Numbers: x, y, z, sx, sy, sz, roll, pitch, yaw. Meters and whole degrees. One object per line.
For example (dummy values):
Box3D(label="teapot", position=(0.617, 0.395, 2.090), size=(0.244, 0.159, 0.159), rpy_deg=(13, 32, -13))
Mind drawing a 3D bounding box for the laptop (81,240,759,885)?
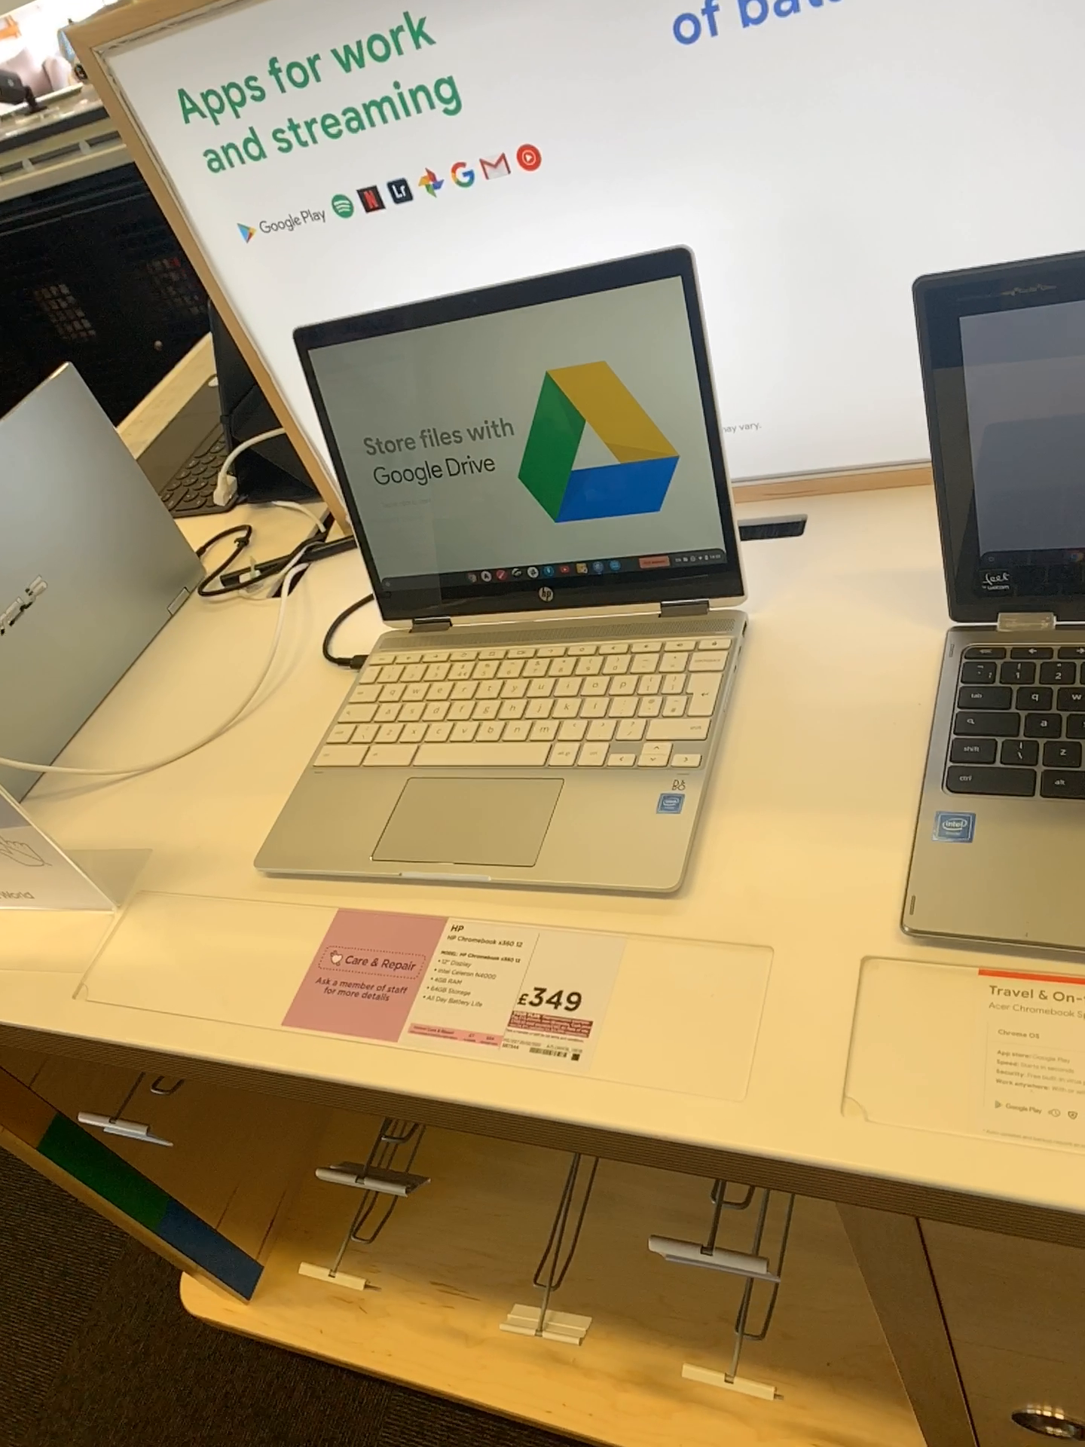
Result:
Box3D(label="laptop", position=(-0.044, -0.086, 0.629), size=(0.258, 0.190, 0.271), rpy_deg=(-1, 48, 26))
